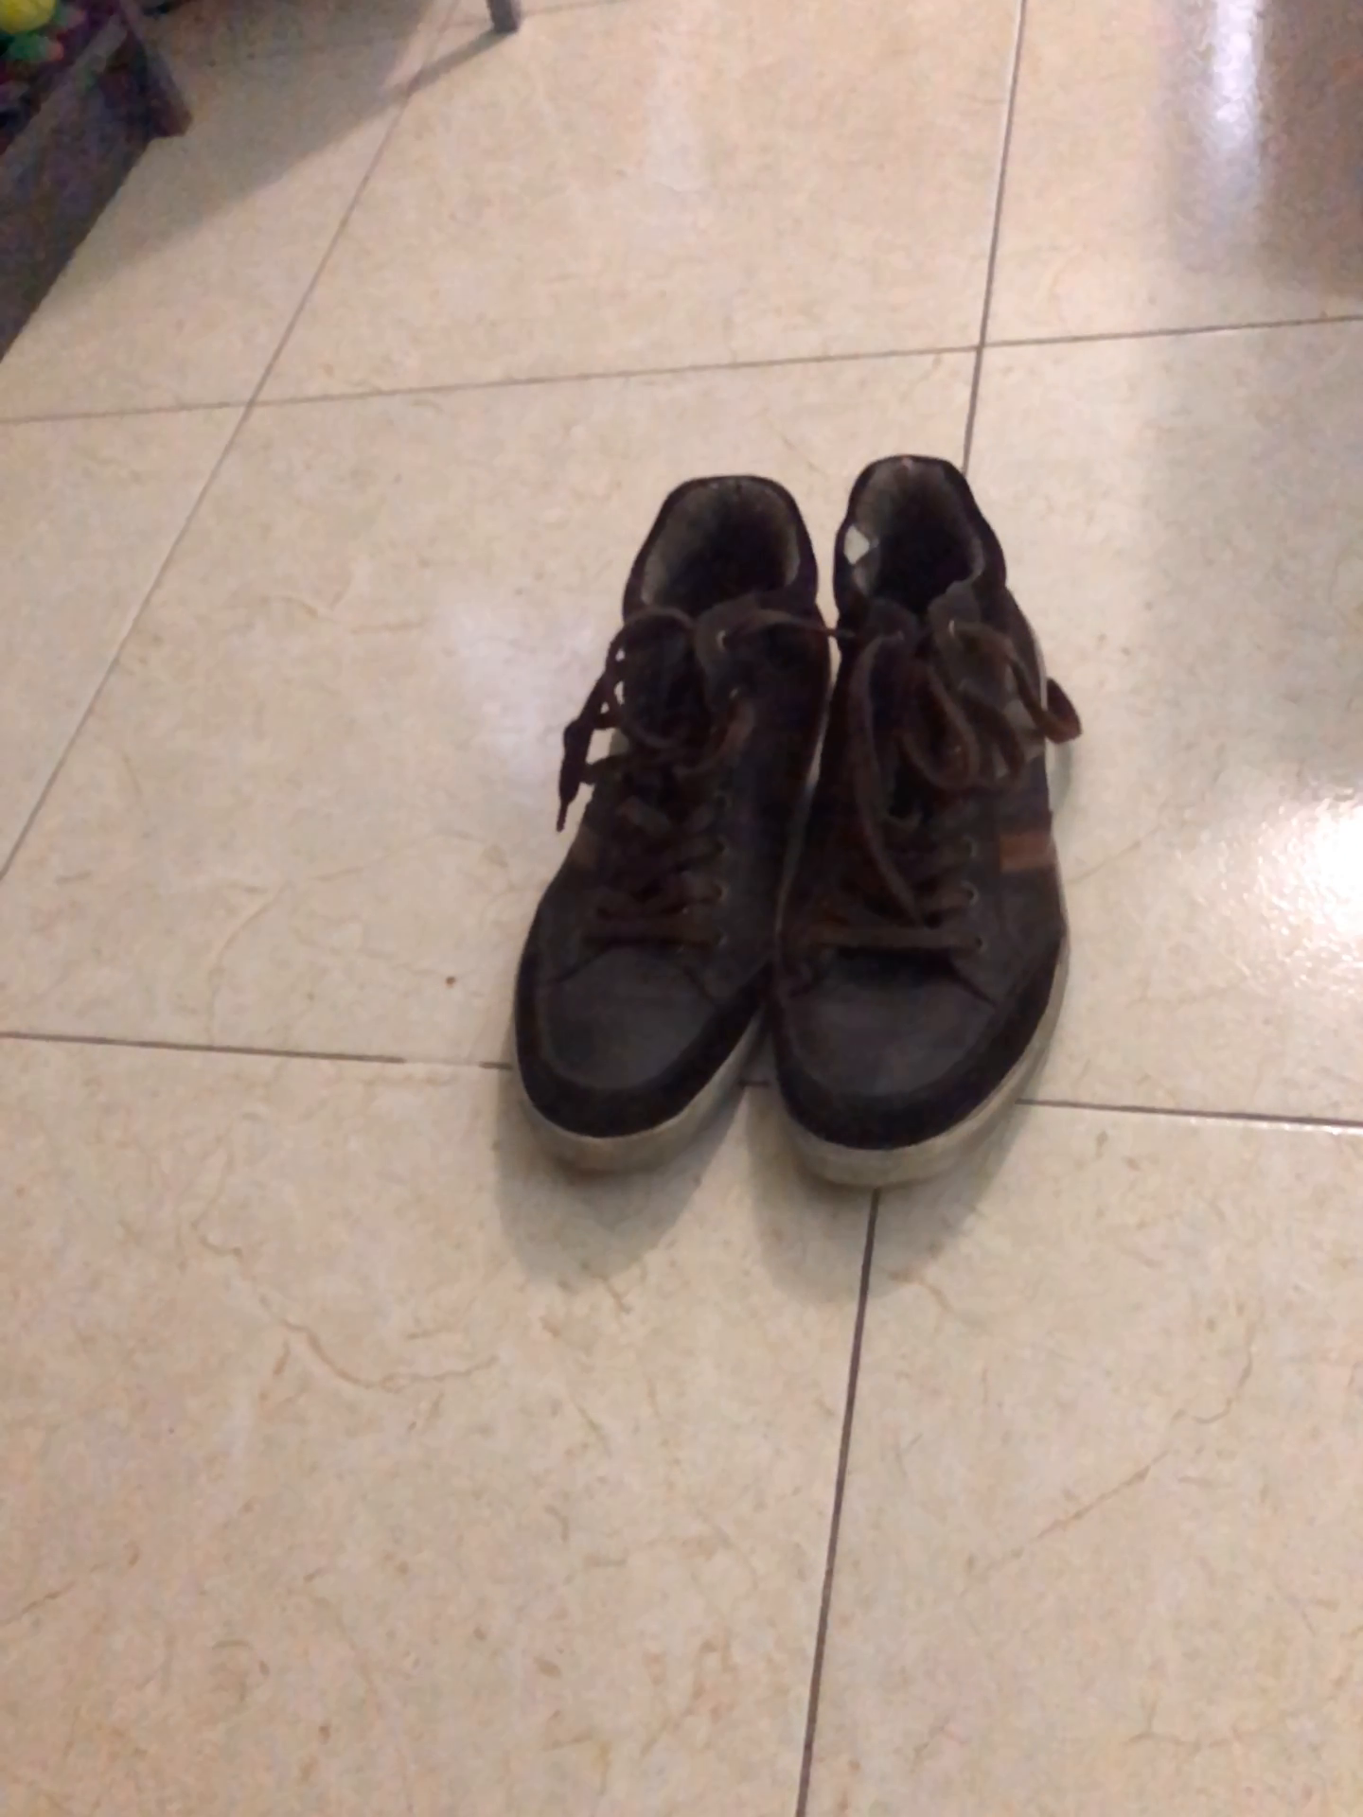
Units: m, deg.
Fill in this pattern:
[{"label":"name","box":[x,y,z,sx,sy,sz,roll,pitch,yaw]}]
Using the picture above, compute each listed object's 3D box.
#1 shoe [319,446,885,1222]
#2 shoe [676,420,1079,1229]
[{"label":"shoe","box":[-0.014,-0.044,0.614,0.120,0.110,0.301,6,57,20]},{"label":"shoe","box":[0.087,-0.041,0.586,0.120,0.110,0.301,-2,55,15]}]
